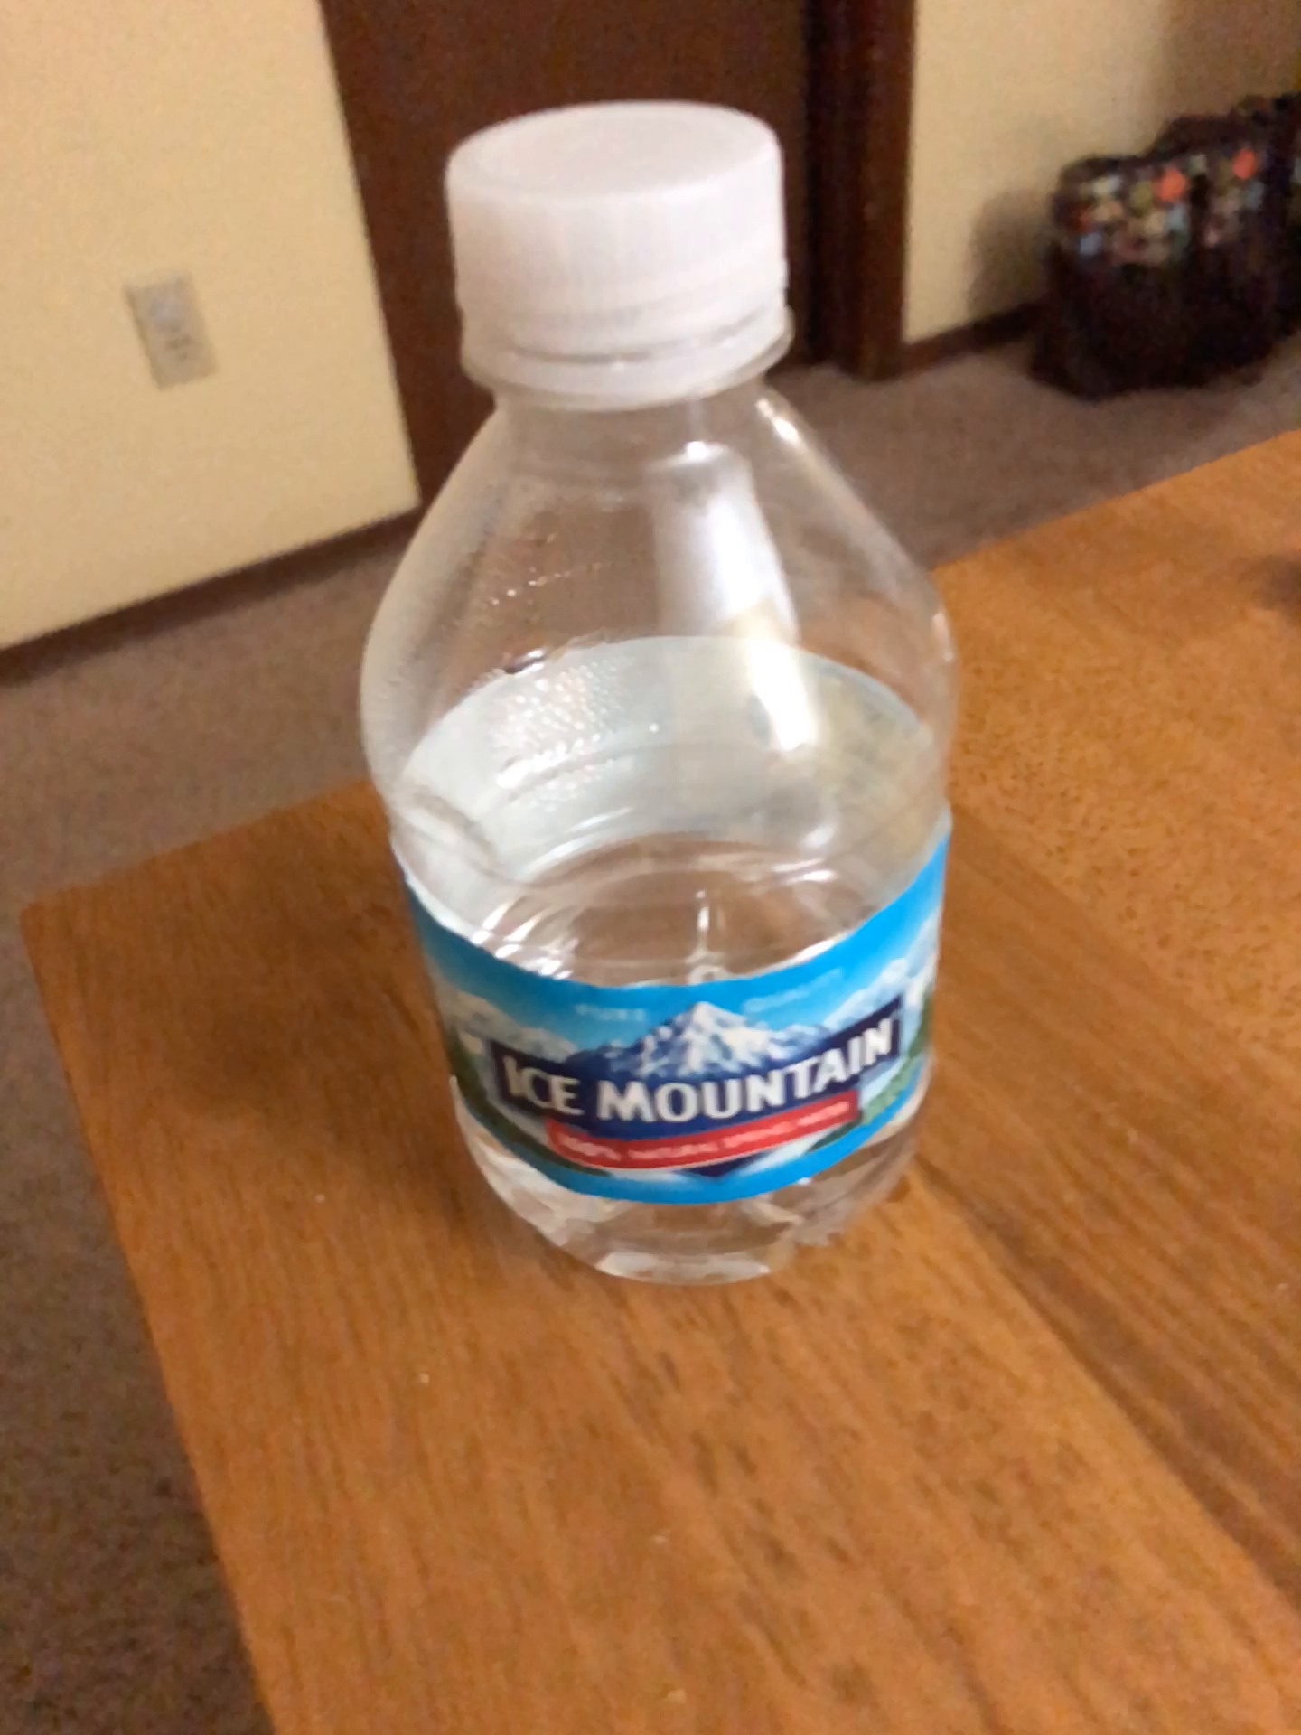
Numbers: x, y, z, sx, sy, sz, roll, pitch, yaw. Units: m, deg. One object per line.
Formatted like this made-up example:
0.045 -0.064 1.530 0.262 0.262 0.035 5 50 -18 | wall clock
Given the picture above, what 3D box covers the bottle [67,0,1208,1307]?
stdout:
0.002 -0.019 0.152 0.070 0.110 0.070 -4 42 3 | bottle
